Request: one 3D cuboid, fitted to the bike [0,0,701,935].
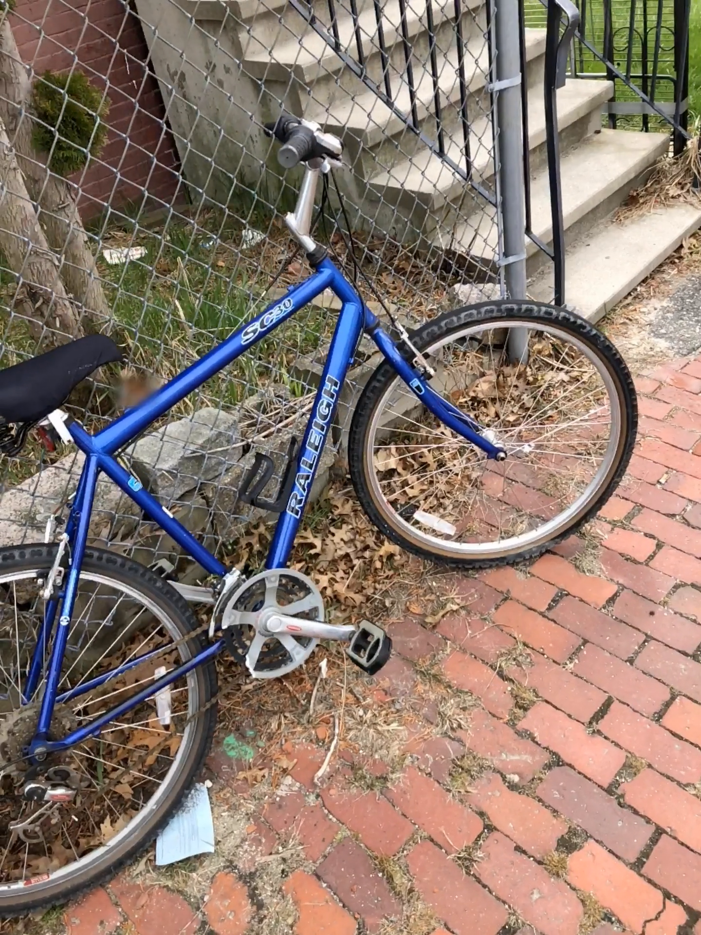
[{"bbox_3d":[-0.233,-0.038,1.420,1.666,1.024,0.682,-29,38,-18],"label":"bike"}]
